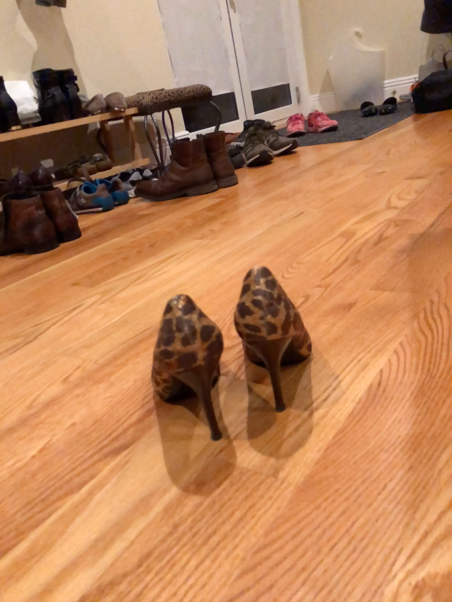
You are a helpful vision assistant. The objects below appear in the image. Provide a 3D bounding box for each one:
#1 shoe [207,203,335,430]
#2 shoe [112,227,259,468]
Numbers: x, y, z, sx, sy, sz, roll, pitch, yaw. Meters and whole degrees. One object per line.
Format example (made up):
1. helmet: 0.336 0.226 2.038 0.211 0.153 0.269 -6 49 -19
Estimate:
1. shoe: 0.040 -0.001 0.507 0.083 0.144 0.219 -11 22 4
2. shoe: -0.051 0.026 0.489 0.083 0.144 0.219 -15 22 -8
